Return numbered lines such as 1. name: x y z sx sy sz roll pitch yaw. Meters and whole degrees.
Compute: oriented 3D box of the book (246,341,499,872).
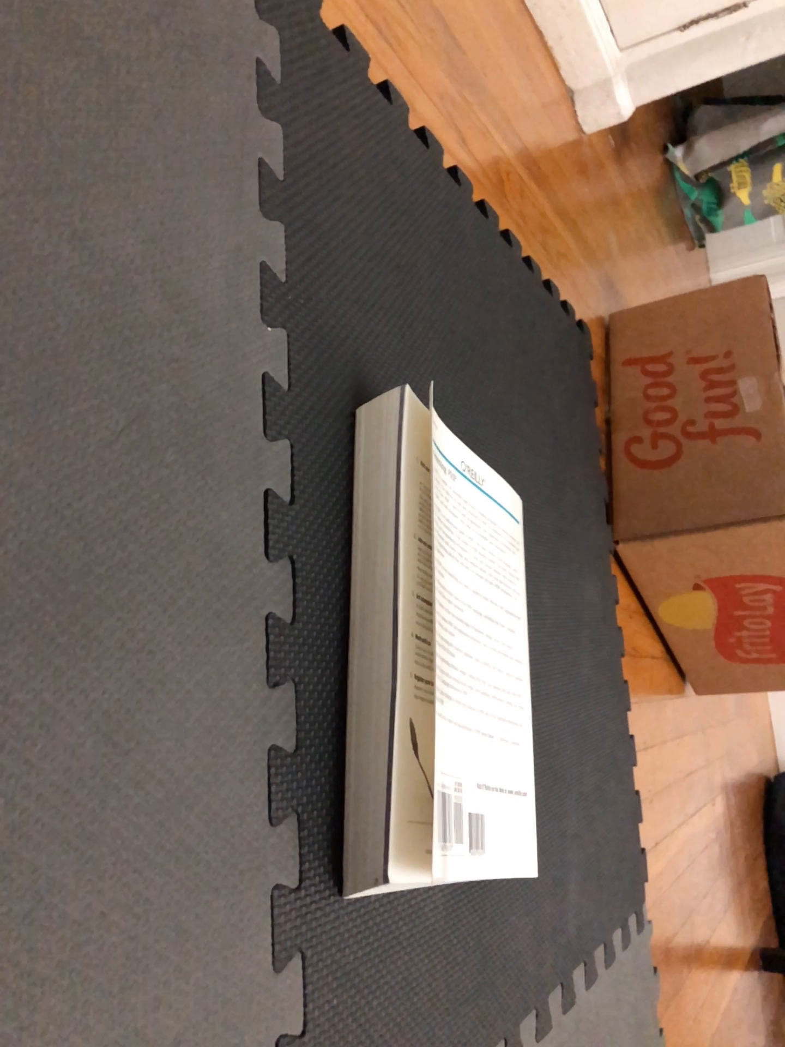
1. book: 0.006 0.069 0.562 0.231 0.040 0.290 35 52 -55
